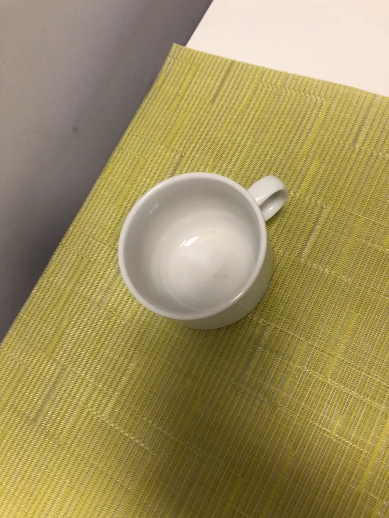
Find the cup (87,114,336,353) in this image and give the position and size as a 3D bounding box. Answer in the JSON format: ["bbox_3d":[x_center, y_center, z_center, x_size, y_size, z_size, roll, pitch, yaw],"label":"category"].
[{"bbox_3d":[0.010,-0.011,0.259,0.110,0.057,0.086,-29,67,6],"label":"cup"}]
